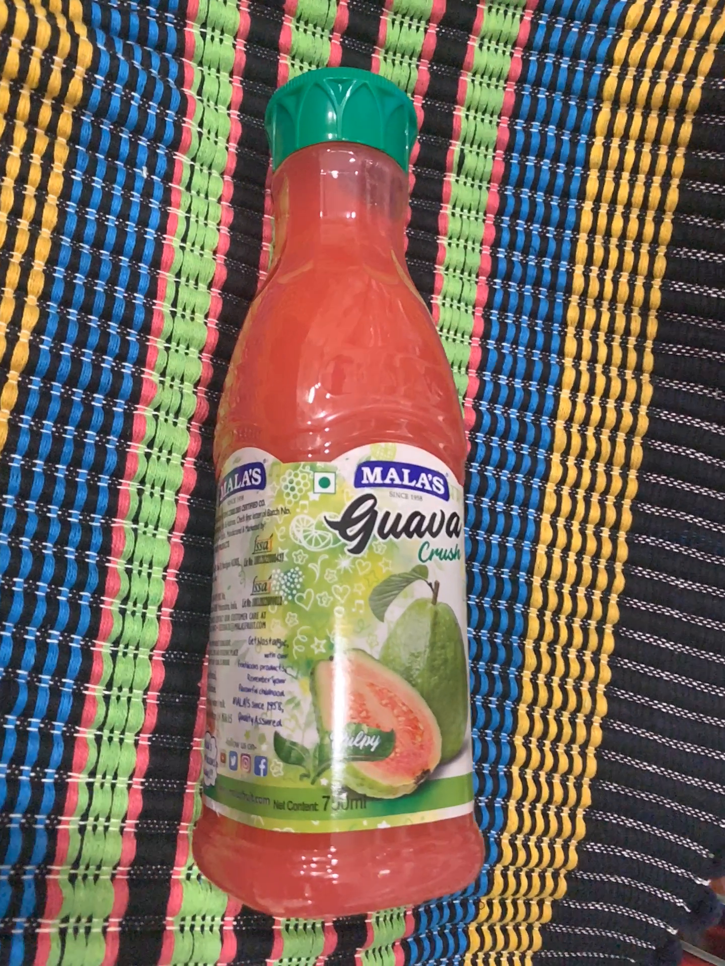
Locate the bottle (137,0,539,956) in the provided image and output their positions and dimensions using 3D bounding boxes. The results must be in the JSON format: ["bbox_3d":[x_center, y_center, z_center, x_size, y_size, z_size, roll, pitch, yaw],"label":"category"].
[{"bbox_3d":[-0.016,-0.018,0.235,0.080,0.080,0.260,6,73,-30],"label":"bottle"}]
